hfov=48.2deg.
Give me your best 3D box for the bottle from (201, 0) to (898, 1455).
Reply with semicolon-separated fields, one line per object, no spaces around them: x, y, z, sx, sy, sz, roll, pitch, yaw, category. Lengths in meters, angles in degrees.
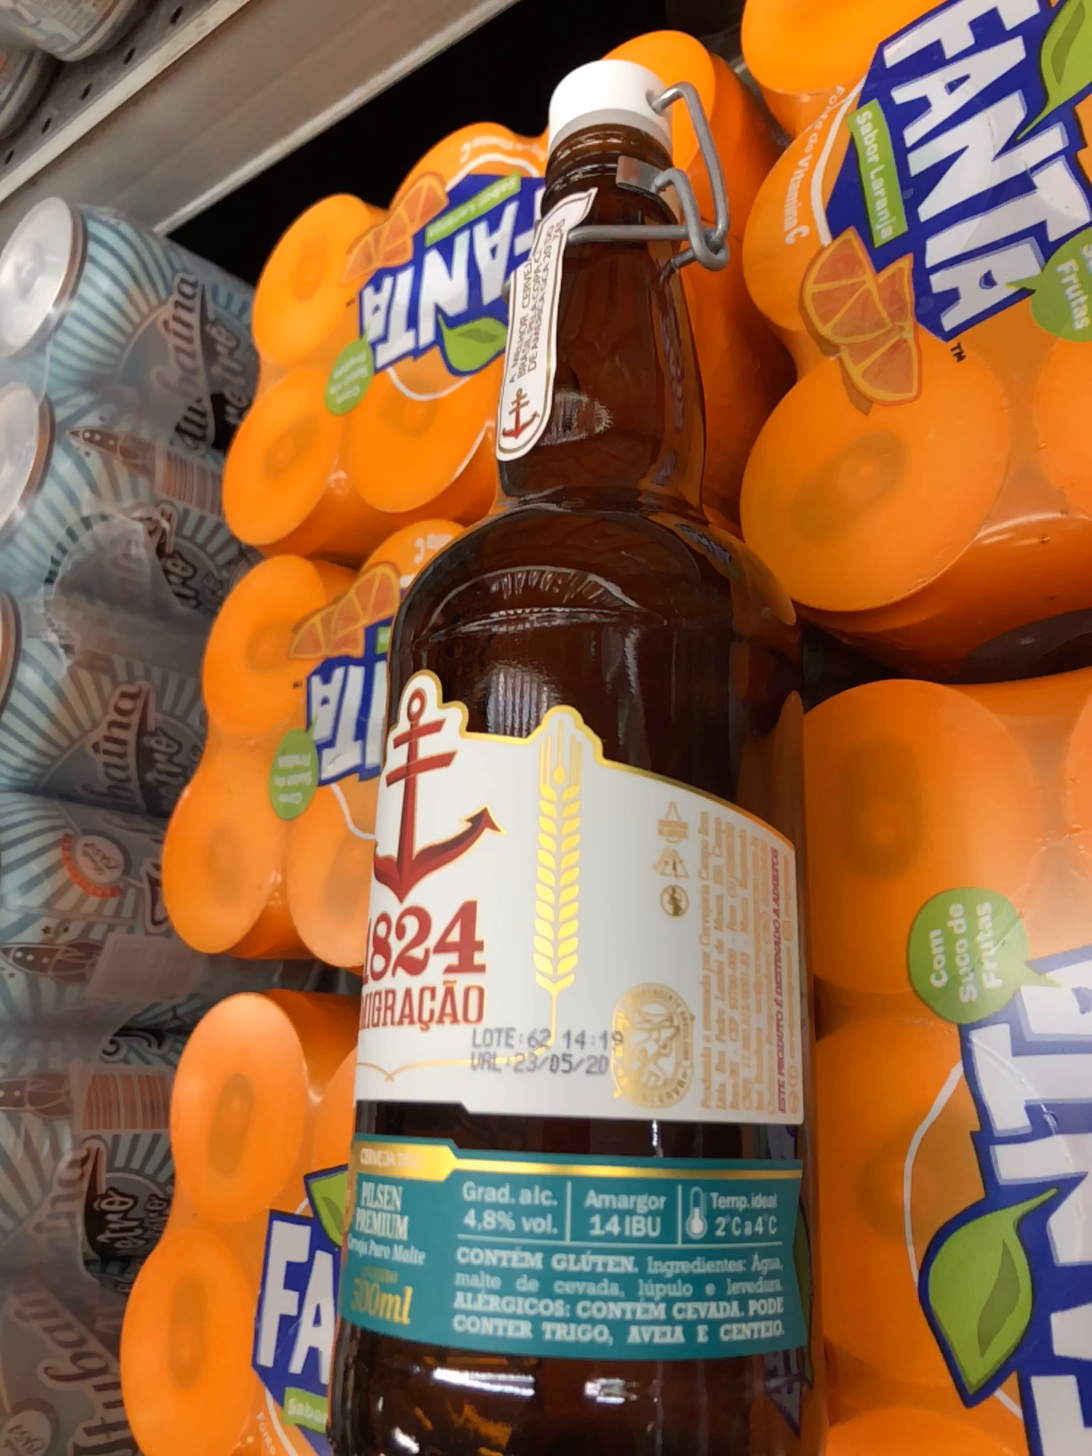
-0.001;-0.014;0.198;0.080;0.050;0.250;-12;70;38;bottle
